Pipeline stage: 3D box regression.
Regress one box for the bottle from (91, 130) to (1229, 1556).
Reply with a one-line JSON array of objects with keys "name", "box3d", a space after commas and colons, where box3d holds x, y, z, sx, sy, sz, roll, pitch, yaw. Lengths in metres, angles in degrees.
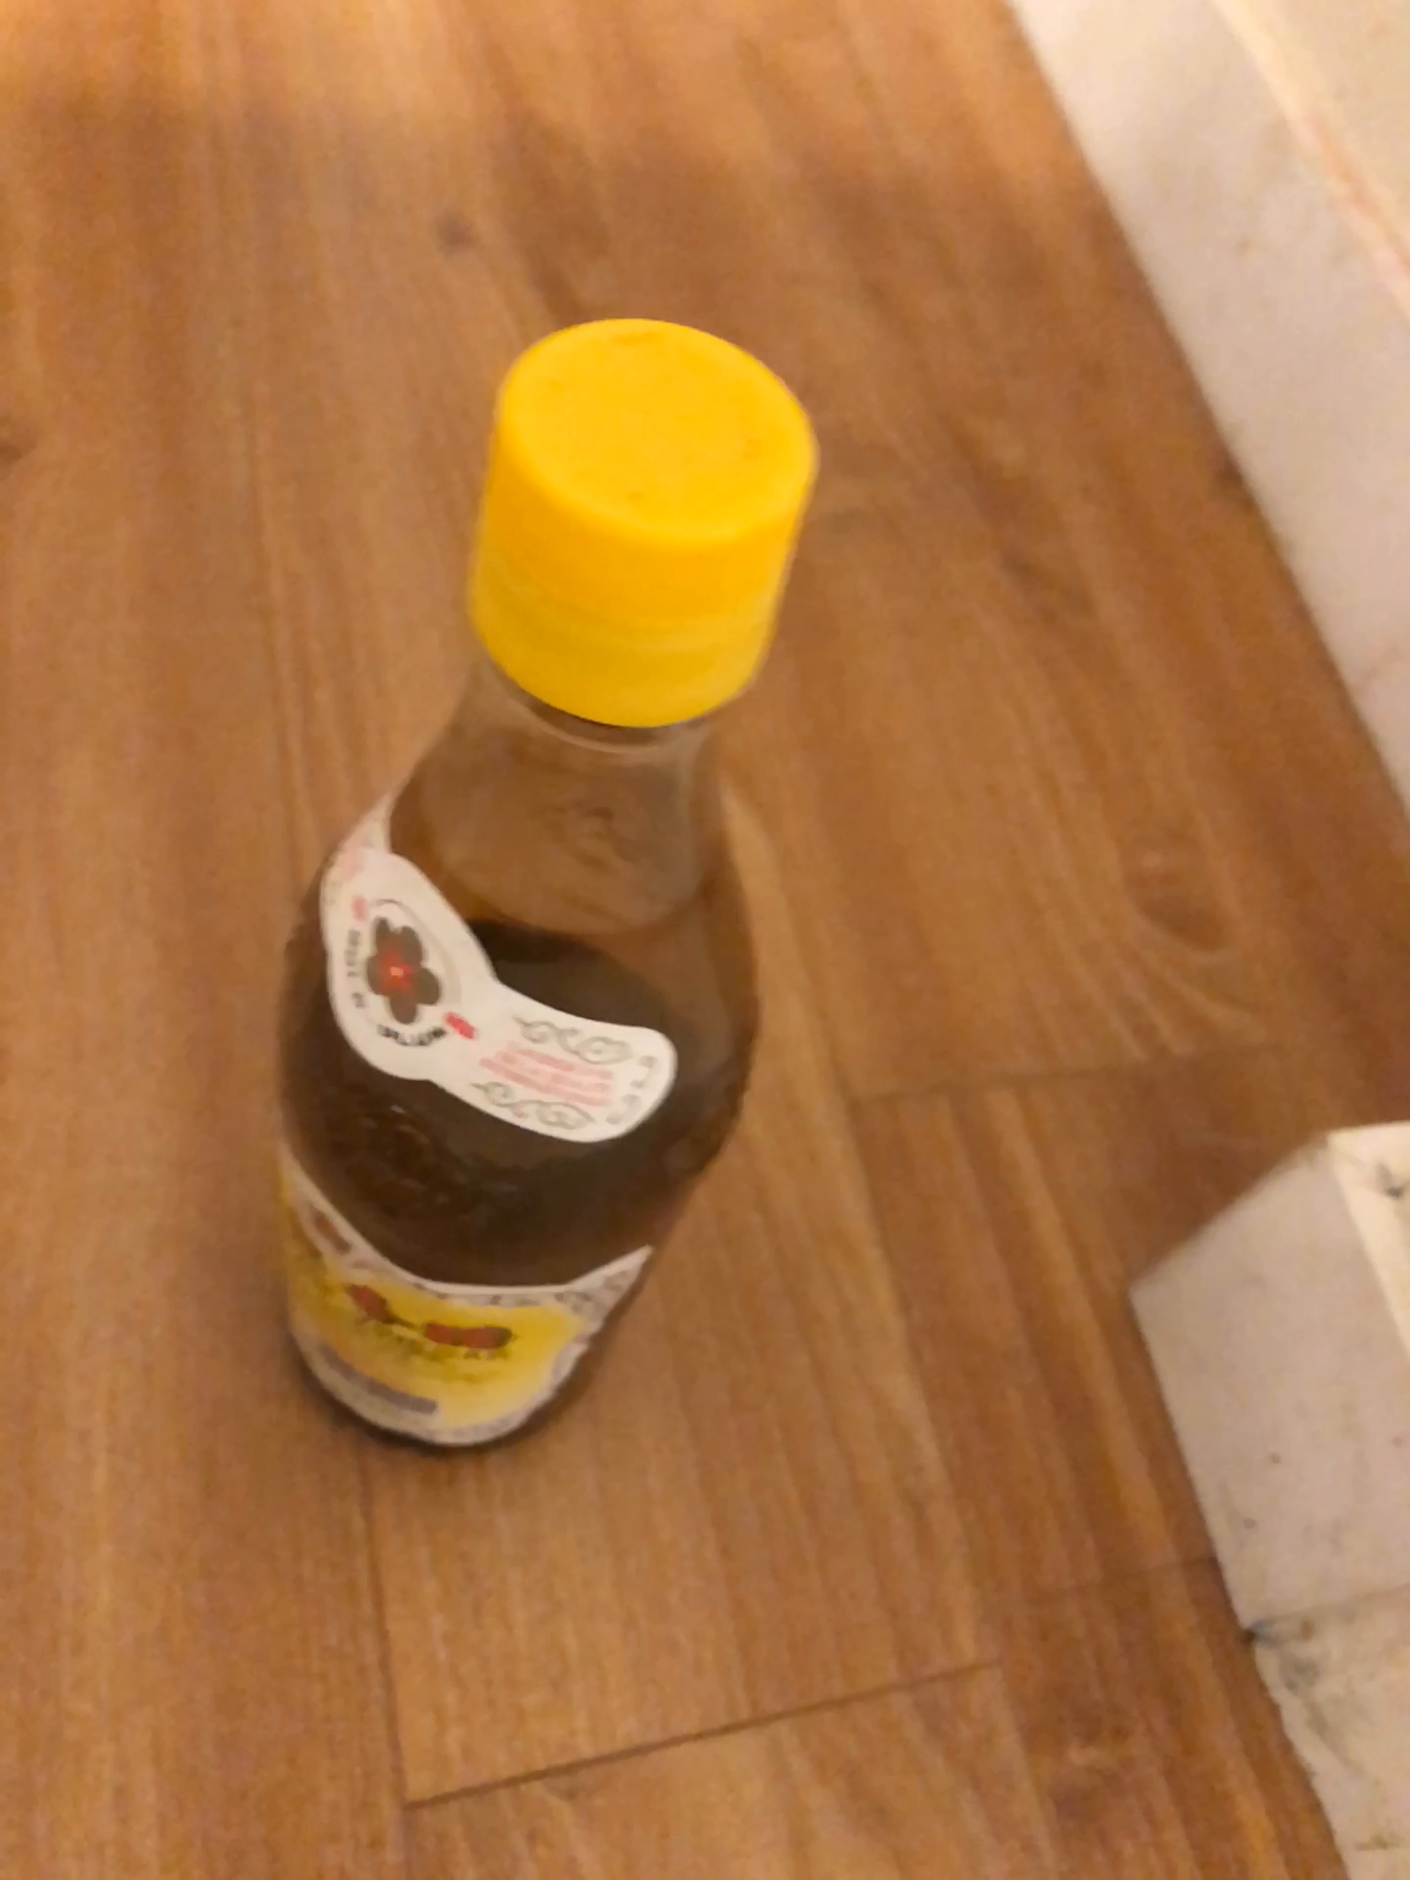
[{"name": "bottle", "box3d": [-0.026, 0.017, 0.230, 0.070, 0.229, 0.070, 7, 58, -11]}]
